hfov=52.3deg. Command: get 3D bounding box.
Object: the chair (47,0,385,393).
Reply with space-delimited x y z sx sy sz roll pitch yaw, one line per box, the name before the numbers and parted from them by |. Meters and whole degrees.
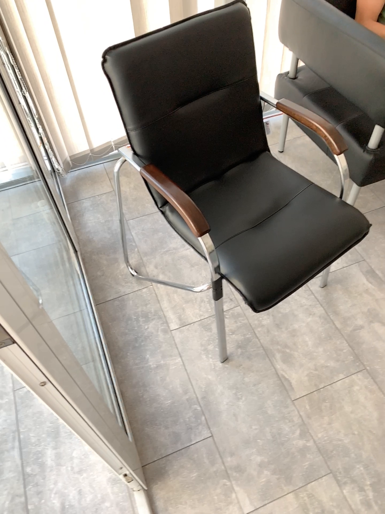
chair | 0.141 -0.201 1.235 0.680 0.827 0.702 -33 57 -21
